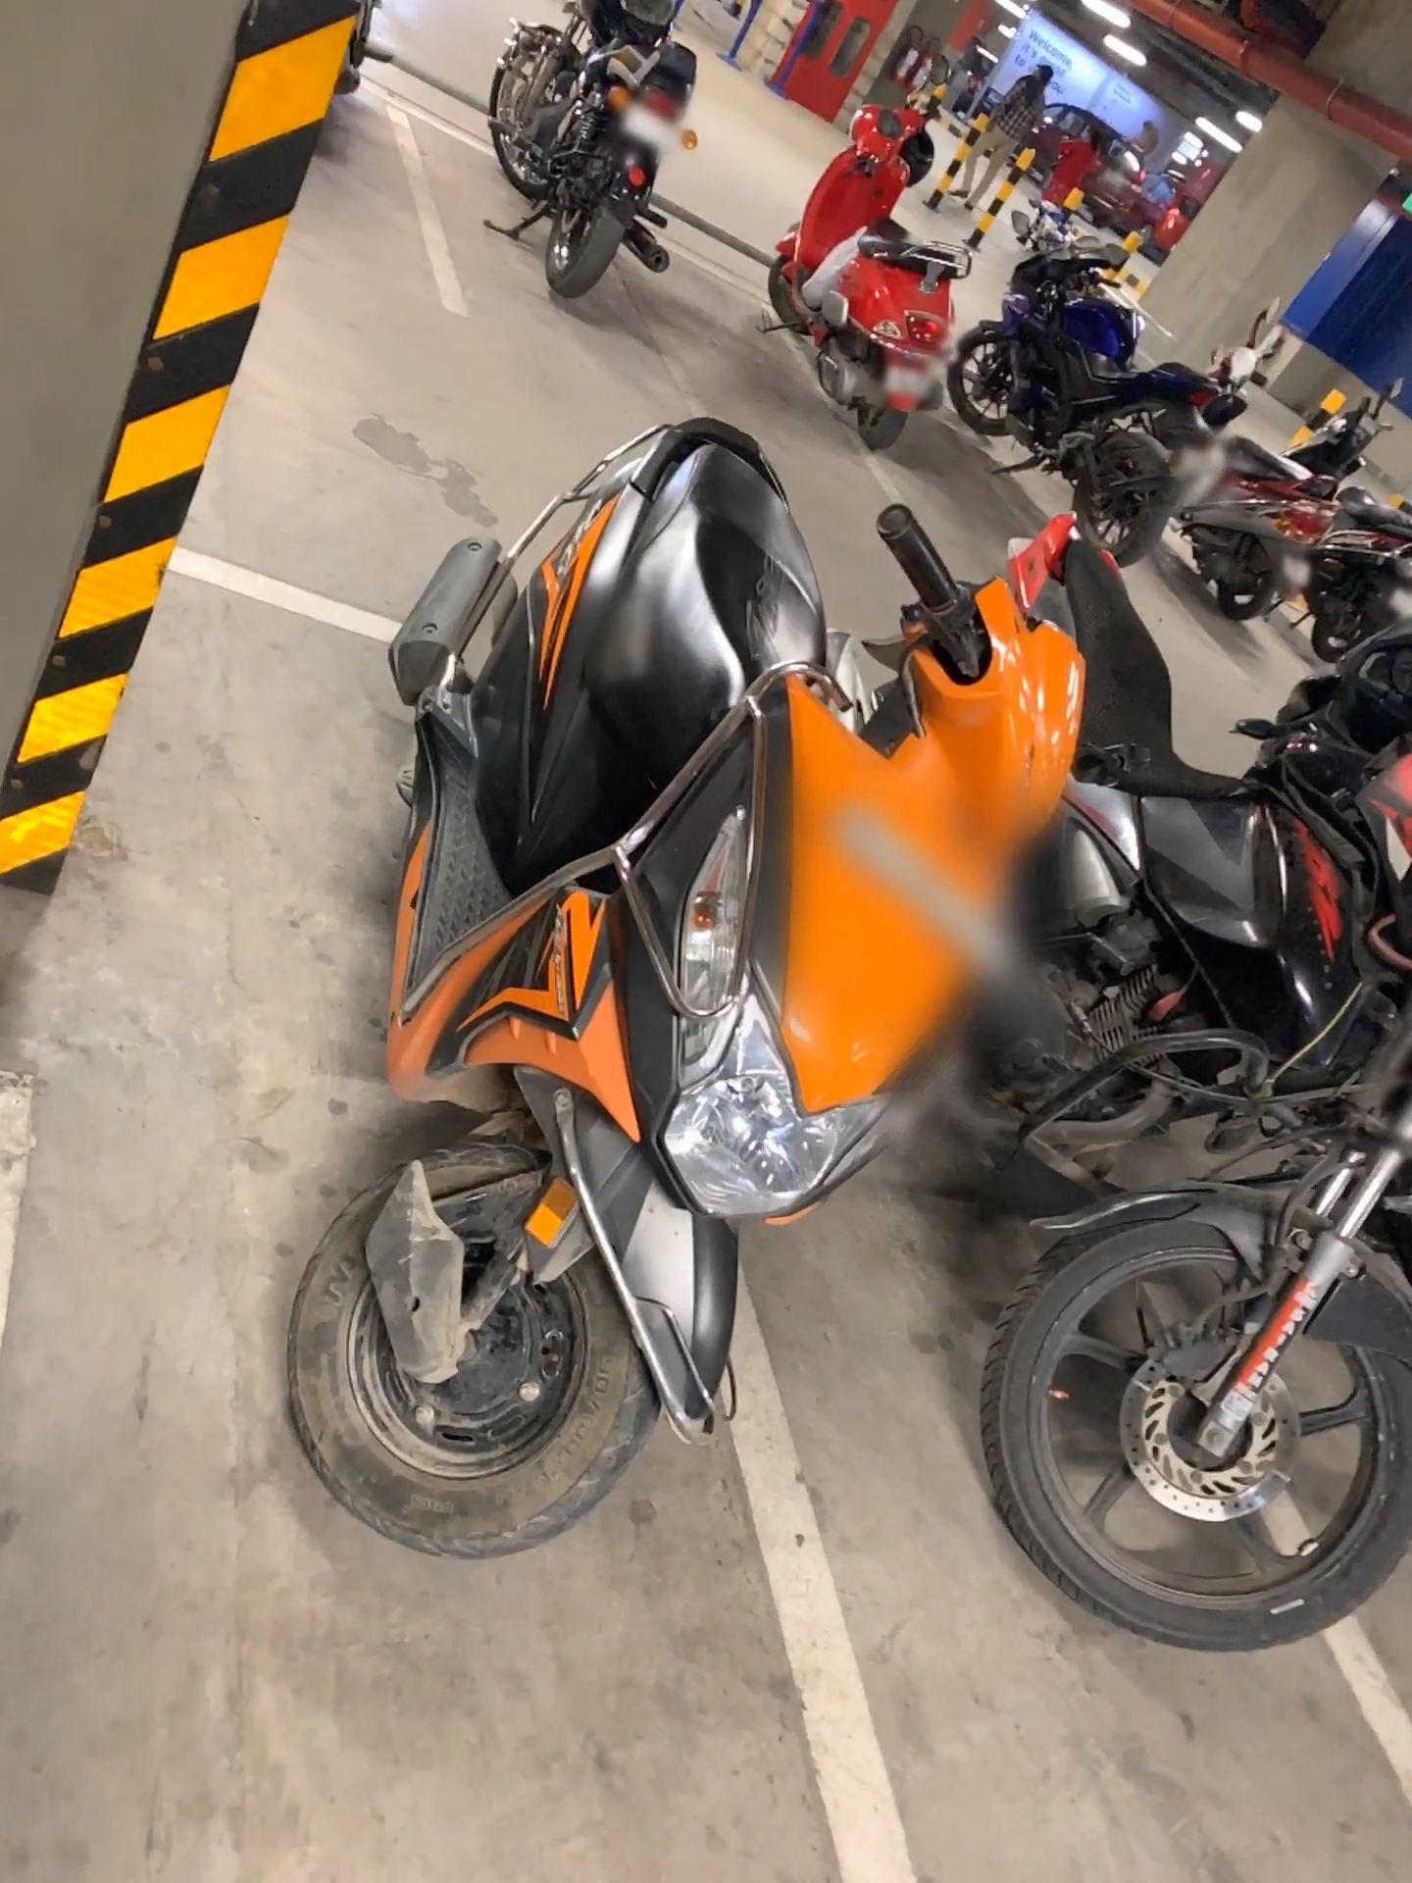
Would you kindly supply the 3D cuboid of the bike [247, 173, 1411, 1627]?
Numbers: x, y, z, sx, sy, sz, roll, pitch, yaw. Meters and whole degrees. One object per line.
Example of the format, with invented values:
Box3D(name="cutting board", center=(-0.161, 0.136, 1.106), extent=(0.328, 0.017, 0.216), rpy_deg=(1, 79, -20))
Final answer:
Box3D(name="bike", center=(0.049, -0.139, 1.989), extent=(0.725, 1.172, 1.611), rpy_deg=(20, 34, -22))
